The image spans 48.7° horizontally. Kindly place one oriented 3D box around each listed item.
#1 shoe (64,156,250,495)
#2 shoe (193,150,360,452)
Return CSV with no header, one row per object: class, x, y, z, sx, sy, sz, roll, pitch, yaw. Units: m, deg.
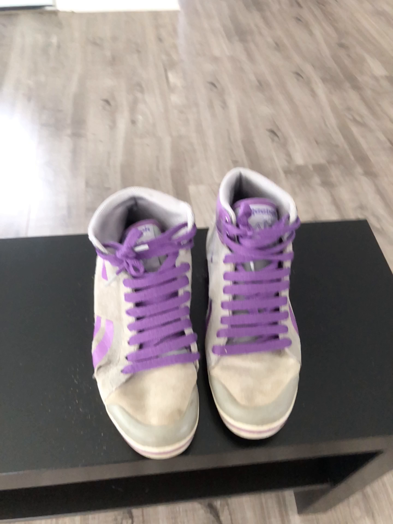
shoe,-0.045,0.039,0.363,0.100,0.120,0.241,-8,52,-9
shoe,0.047,0.022,0.379,0.090,0.110,0.241,0,51,-3
